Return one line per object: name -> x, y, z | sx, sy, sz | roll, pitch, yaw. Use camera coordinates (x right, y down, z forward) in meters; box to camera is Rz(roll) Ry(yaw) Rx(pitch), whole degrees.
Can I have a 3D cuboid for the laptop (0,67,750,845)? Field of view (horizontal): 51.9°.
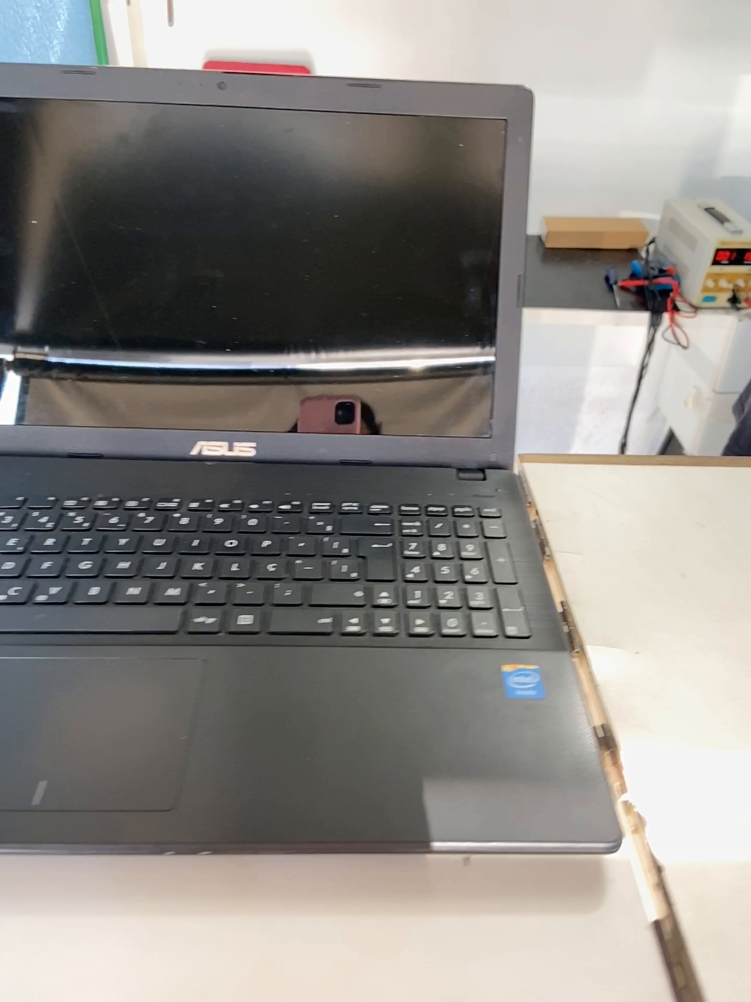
laptop -> -0.090, -0.066, 0.370 | 0.367, 0.200, 0.363 | 1, 36, -1
